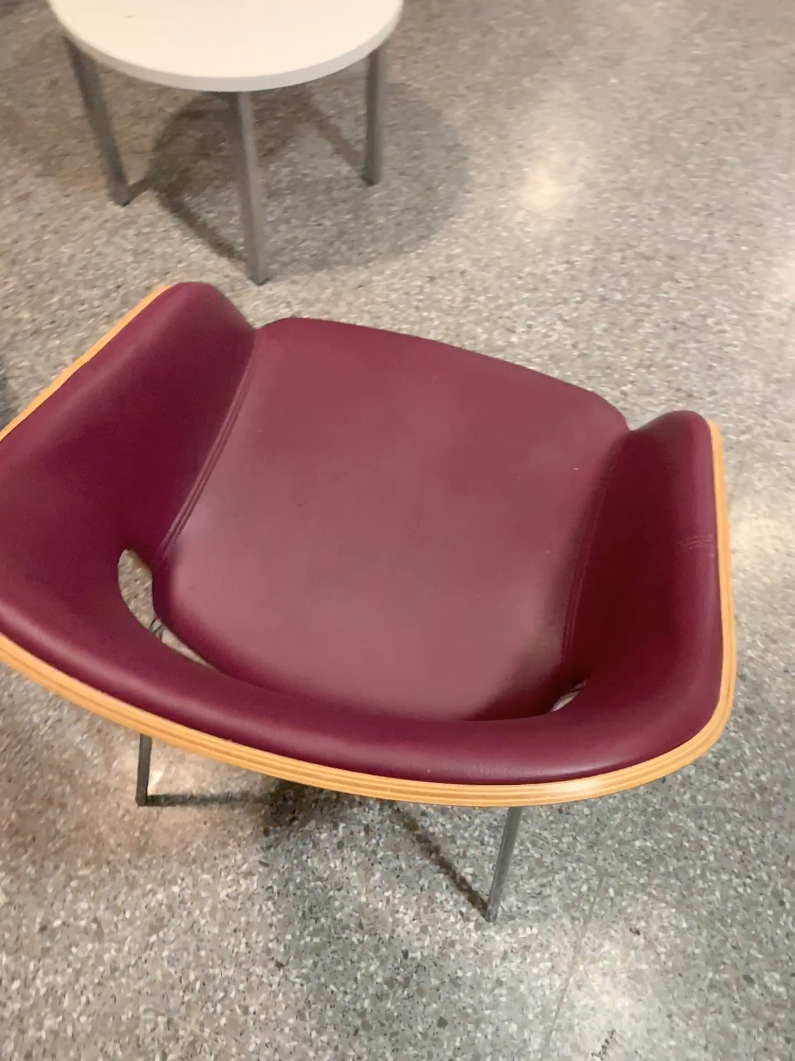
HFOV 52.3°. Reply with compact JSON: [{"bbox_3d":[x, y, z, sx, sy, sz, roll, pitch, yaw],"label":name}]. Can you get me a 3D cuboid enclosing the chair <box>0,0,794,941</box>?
[{"bbox_3d":[-0.001,-0.026,0.850,0.570,0.735,0.634,16,60,6],"label":"chair"}]
